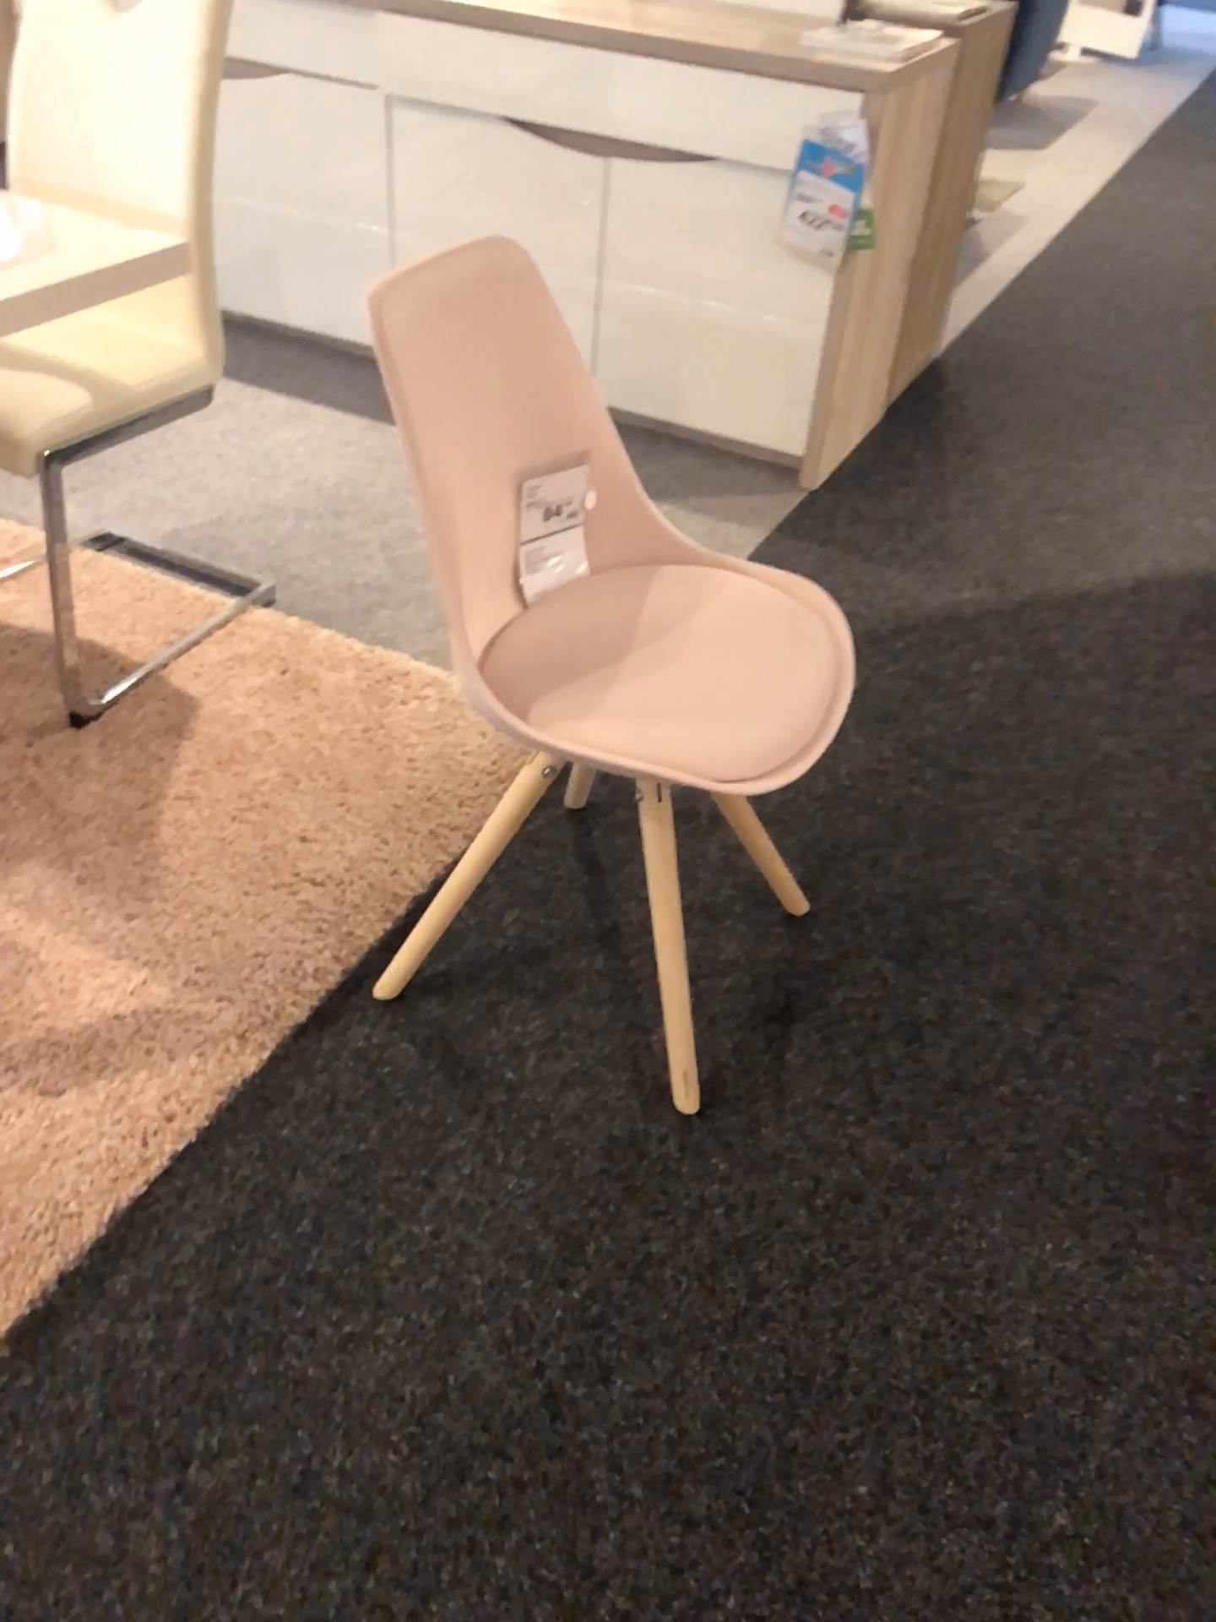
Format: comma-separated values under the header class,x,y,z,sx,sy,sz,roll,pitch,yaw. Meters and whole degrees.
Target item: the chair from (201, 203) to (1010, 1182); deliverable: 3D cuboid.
class,x,y,z,sx,sy,sz,roll,pitch,yaw
chair,0.008,-0.153,1.462,0.559,0.765,0.574,19,39,17
